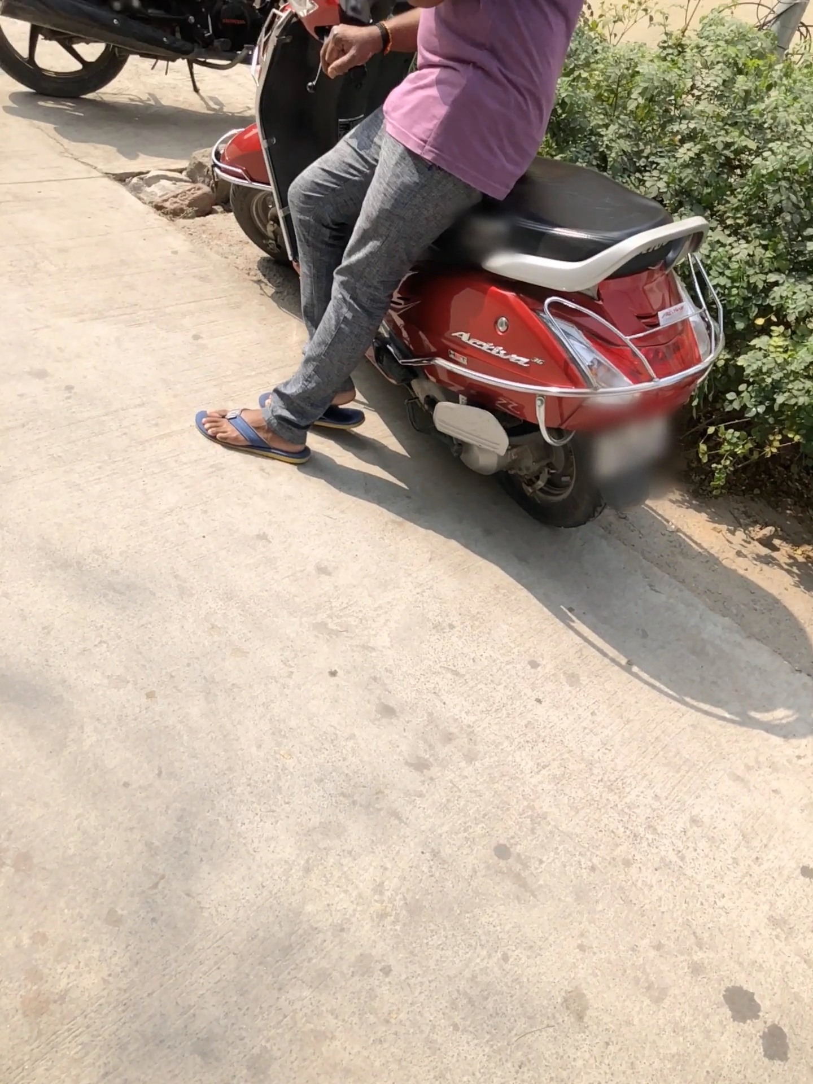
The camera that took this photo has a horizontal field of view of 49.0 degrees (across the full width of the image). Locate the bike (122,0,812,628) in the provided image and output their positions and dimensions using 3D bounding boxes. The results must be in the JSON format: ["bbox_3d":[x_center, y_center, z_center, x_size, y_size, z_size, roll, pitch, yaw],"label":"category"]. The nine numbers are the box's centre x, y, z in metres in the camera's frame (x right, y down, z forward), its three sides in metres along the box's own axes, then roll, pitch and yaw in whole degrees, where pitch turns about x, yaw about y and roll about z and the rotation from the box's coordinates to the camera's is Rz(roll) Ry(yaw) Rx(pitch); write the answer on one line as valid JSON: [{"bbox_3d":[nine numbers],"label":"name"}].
[{"bbox_3d":[-0.023,-0.818,2.123,0.625,1.156,1.585,-15,48,-37],"label":"bike"}]
